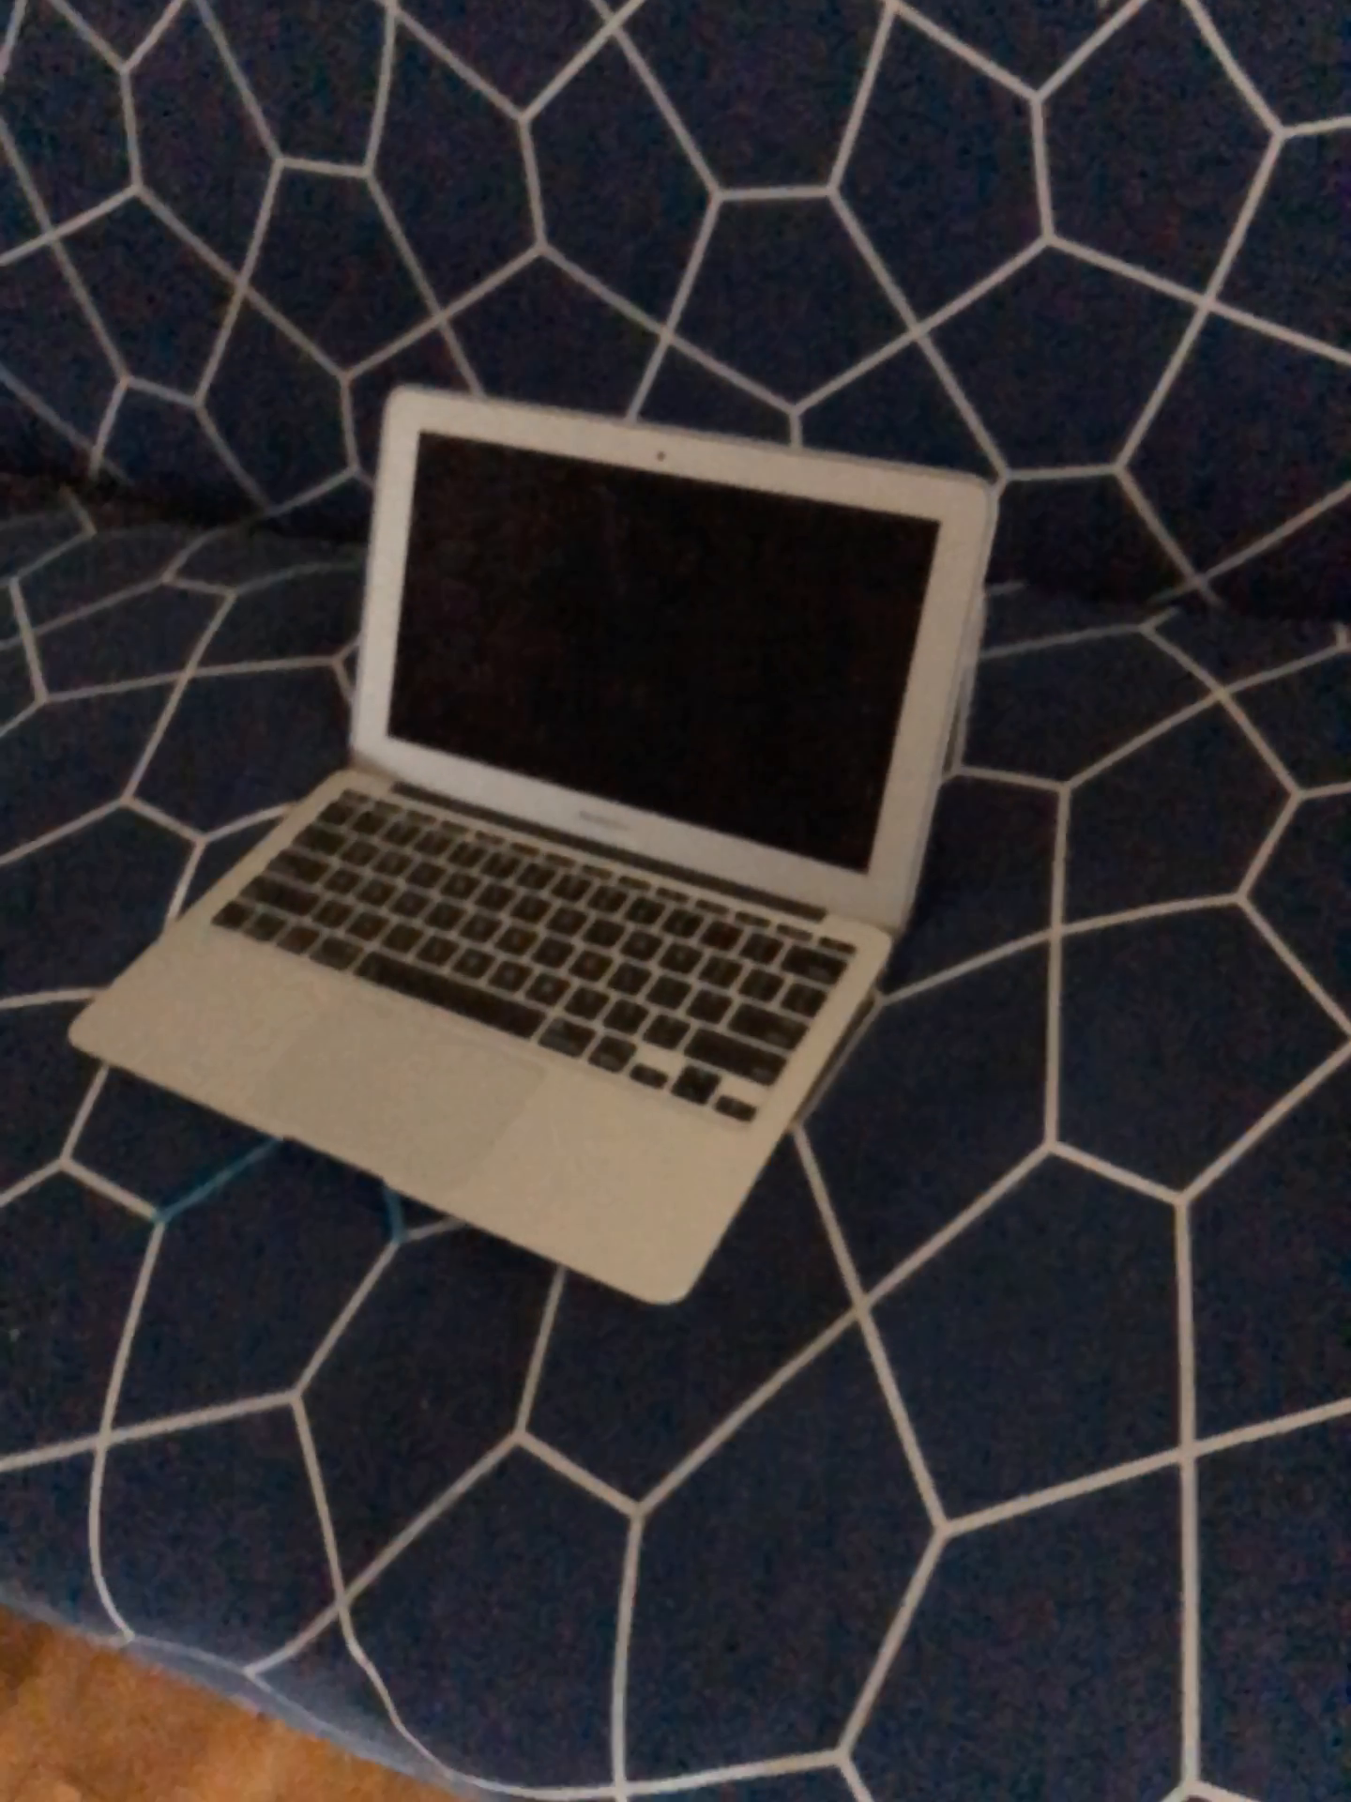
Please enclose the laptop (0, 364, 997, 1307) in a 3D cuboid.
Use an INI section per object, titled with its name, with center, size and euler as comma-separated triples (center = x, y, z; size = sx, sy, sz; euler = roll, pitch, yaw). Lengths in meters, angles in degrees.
[laptop]
center = -0.061, -0.054, 0.587
size = 0.282, 0.156, 0.280
euler = 17, 48, 24
